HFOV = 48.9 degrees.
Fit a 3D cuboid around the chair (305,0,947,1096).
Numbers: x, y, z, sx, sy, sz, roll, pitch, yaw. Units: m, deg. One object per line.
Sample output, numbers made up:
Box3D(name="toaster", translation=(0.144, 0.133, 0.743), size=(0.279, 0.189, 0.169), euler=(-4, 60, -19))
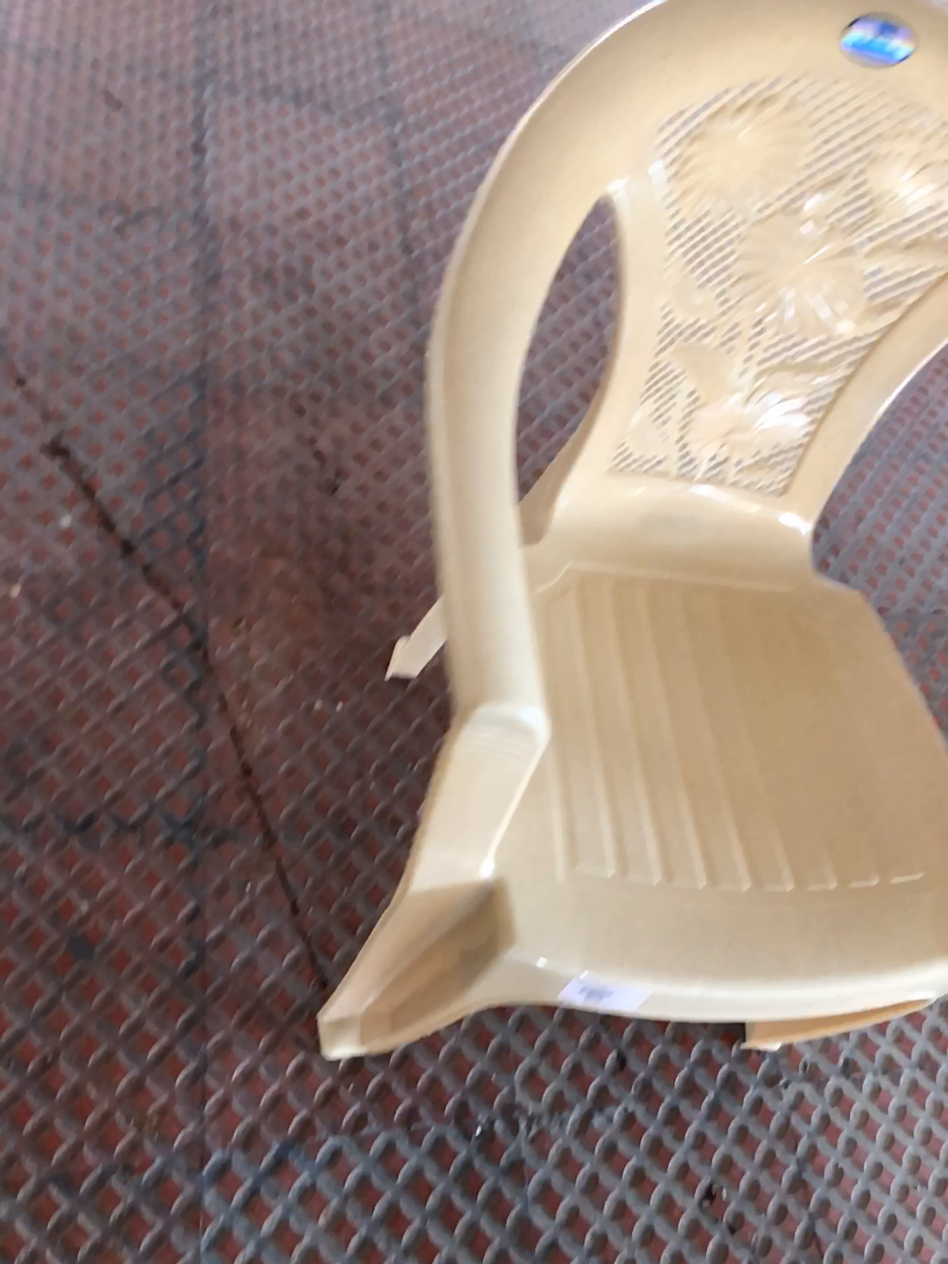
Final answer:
Box3D(name="chair", translation=(0.191, -0.001, 0.875), size=(0.531, 0.805, 0.612), euler=(5, 59, -16))
